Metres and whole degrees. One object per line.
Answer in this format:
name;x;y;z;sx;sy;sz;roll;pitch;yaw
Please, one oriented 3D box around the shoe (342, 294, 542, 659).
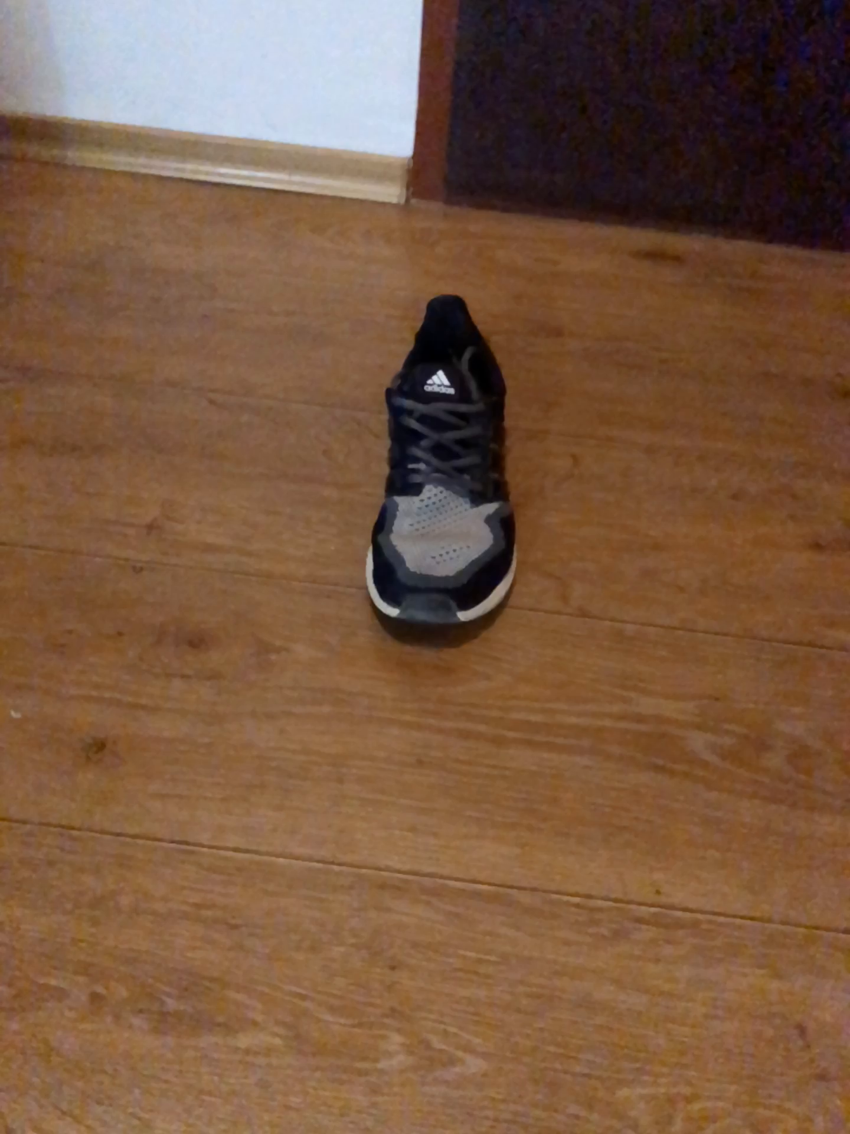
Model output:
shoe;0.018;-0.077;0.674;0.113;0.099;0.272;7;46;1
